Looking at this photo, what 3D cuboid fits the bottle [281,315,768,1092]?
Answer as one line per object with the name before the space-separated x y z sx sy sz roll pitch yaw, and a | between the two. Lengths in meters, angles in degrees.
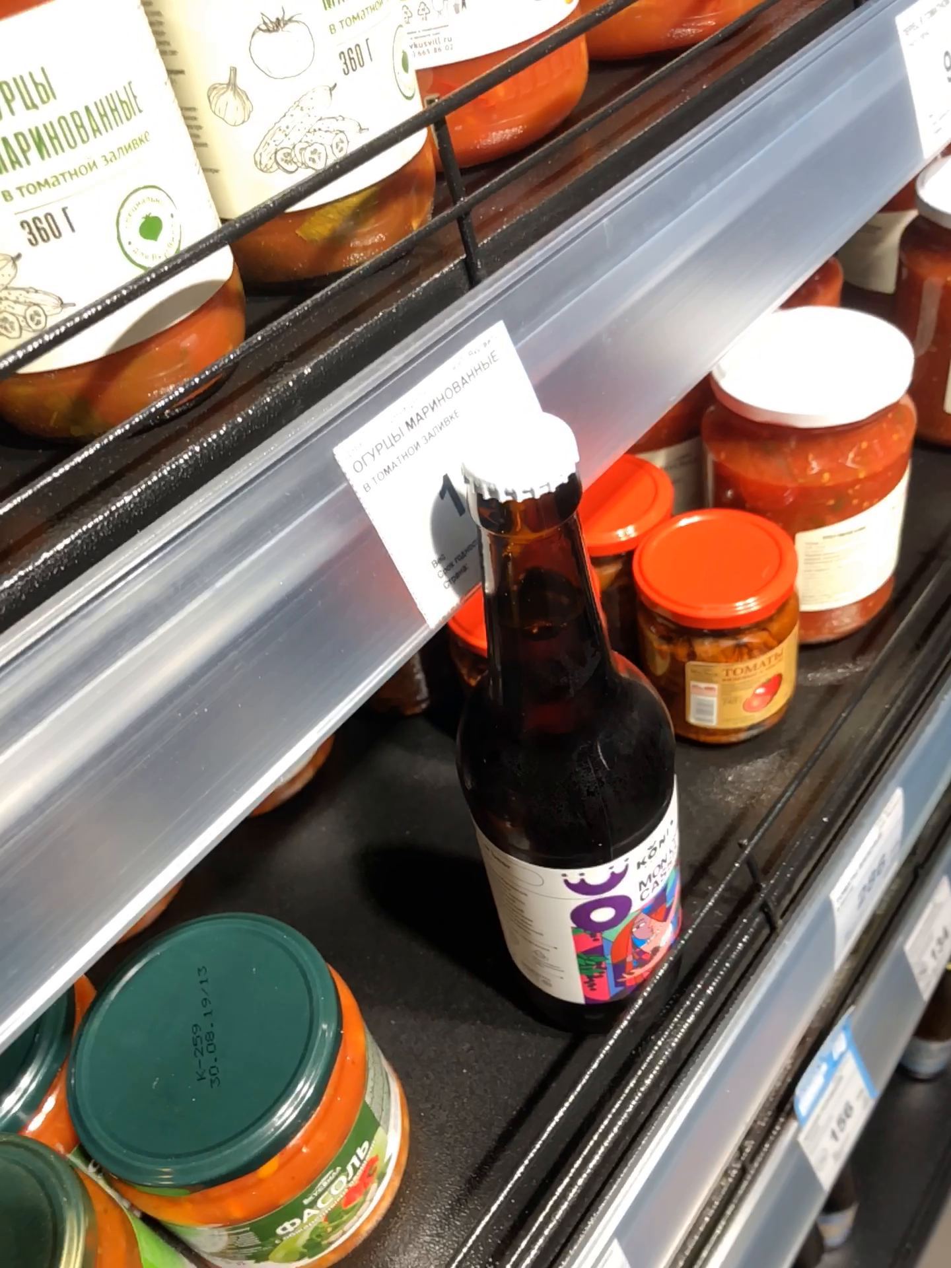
bottle | 0.027 0.038 0.328 0.080 0.239 0.080 -6 45 6
